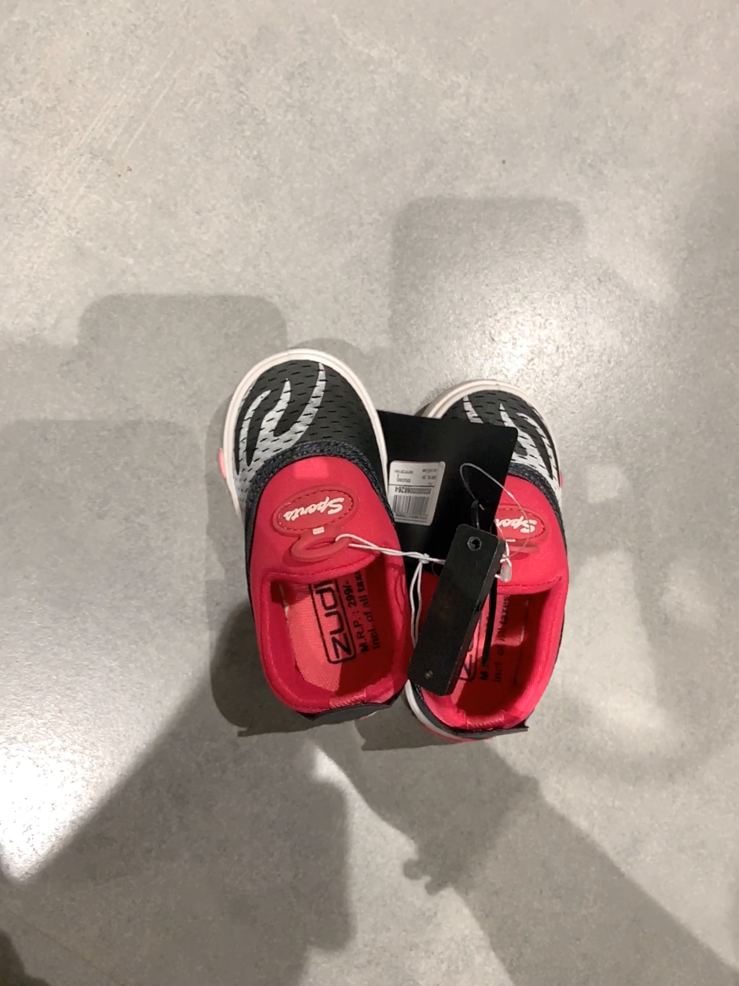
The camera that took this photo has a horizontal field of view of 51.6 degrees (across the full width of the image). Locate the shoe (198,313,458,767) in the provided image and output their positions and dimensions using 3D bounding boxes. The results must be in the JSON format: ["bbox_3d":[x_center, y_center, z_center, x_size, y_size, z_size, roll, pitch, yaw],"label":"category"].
[{"bbox_3d":[-0.017,0.015,0.281,0.060,0.060,0.140,-11,88,-8],"label":"shoe"}]

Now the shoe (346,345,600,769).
[{"bbox_3d":[0.037,0.024,0.295,0.070,0.060,0.140,7,86,-7],"label":"shoe"}]
